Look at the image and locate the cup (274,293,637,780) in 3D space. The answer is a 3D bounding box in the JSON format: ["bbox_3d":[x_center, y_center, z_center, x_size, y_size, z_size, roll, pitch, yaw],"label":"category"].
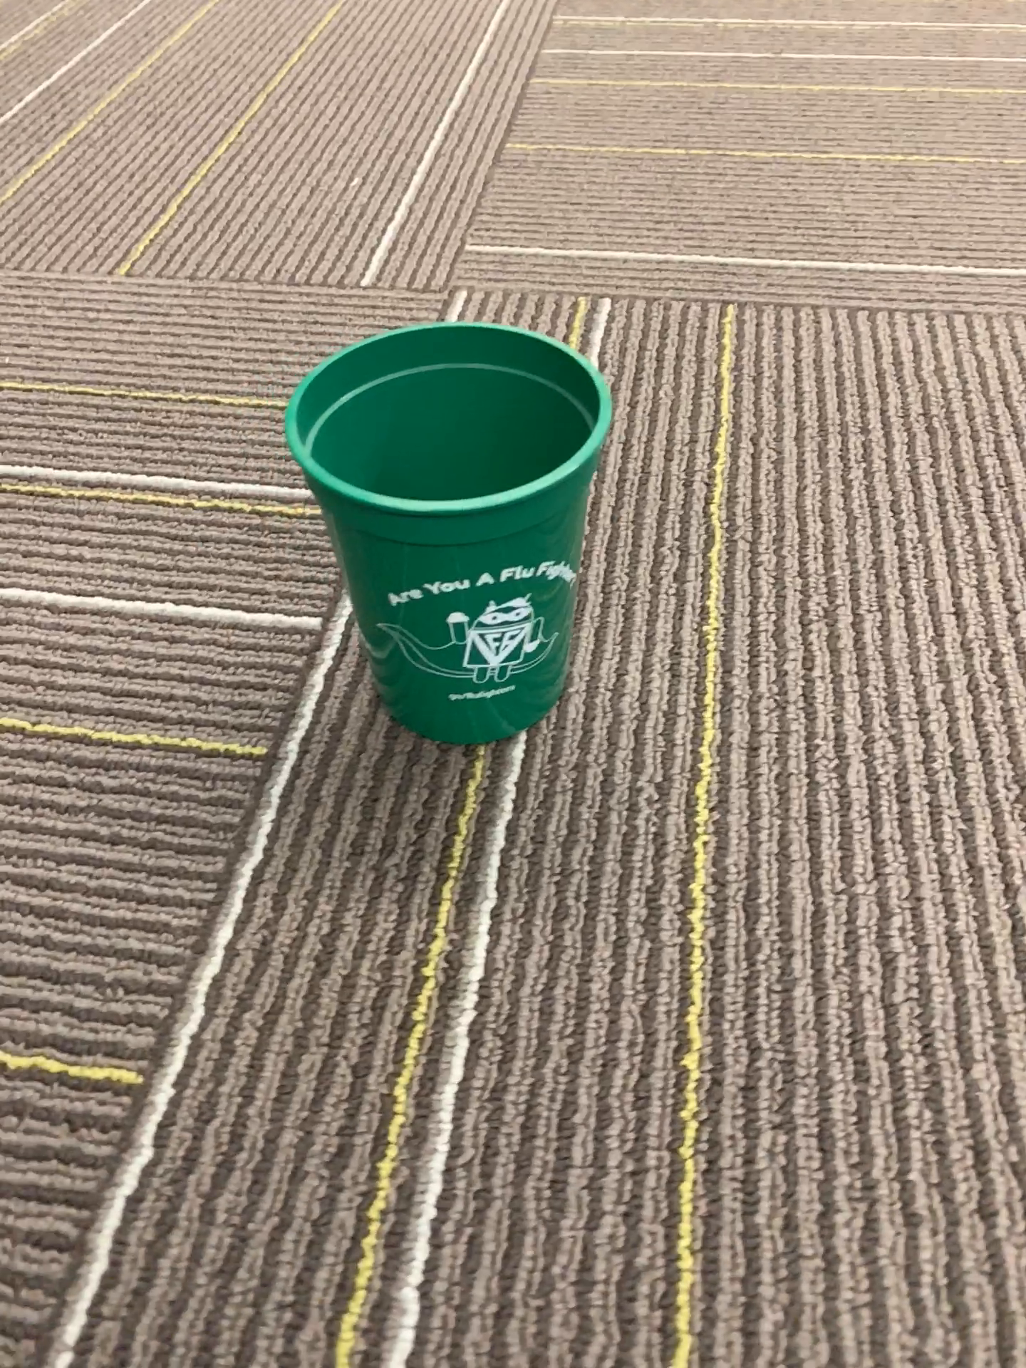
[{"bbox_3d":[-0.018,-0.045,0.341,0.090,0.119,0.080,-10,48,-6],"label":"cup"}]
